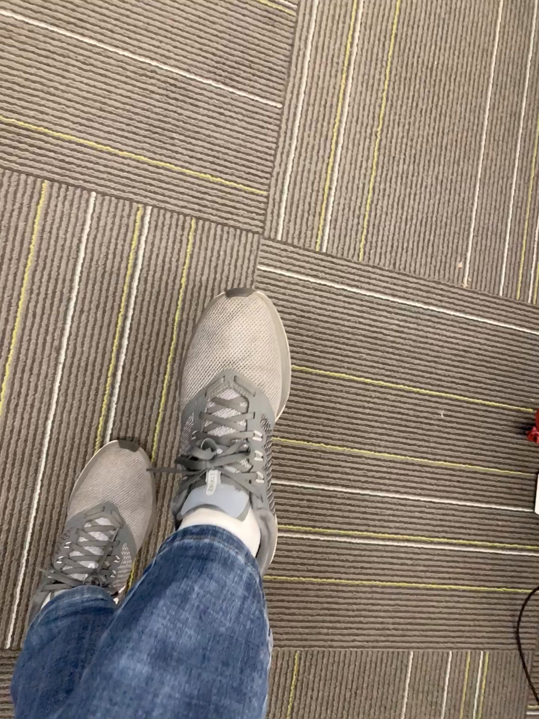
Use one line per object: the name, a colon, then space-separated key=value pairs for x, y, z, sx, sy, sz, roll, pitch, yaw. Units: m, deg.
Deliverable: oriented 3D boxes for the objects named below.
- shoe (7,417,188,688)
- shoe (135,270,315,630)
shoe: x=-0.241 y=0.255 z=0.790 sx=0.124 sy=0.180 sz=0.309 roll=21 pitch=82 yaw=-16
shoe: x=-0.037 y=0.080 z=0.528 sx=0.126 sy=0.115 sz=0.297 roll=-4 pitch=86 yaw=13
